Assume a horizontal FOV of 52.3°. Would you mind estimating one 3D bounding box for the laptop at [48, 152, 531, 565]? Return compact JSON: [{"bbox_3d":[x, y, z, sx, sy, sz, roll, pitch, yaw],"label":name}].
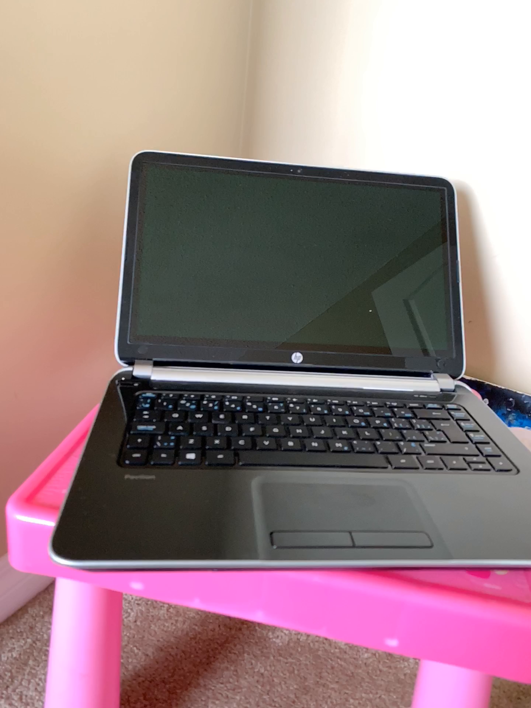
[{"bbox_3d":[0.037,-0.027,0.366,0.274,0.161,0.273,2,25,-7],"label":"laptop"}]
